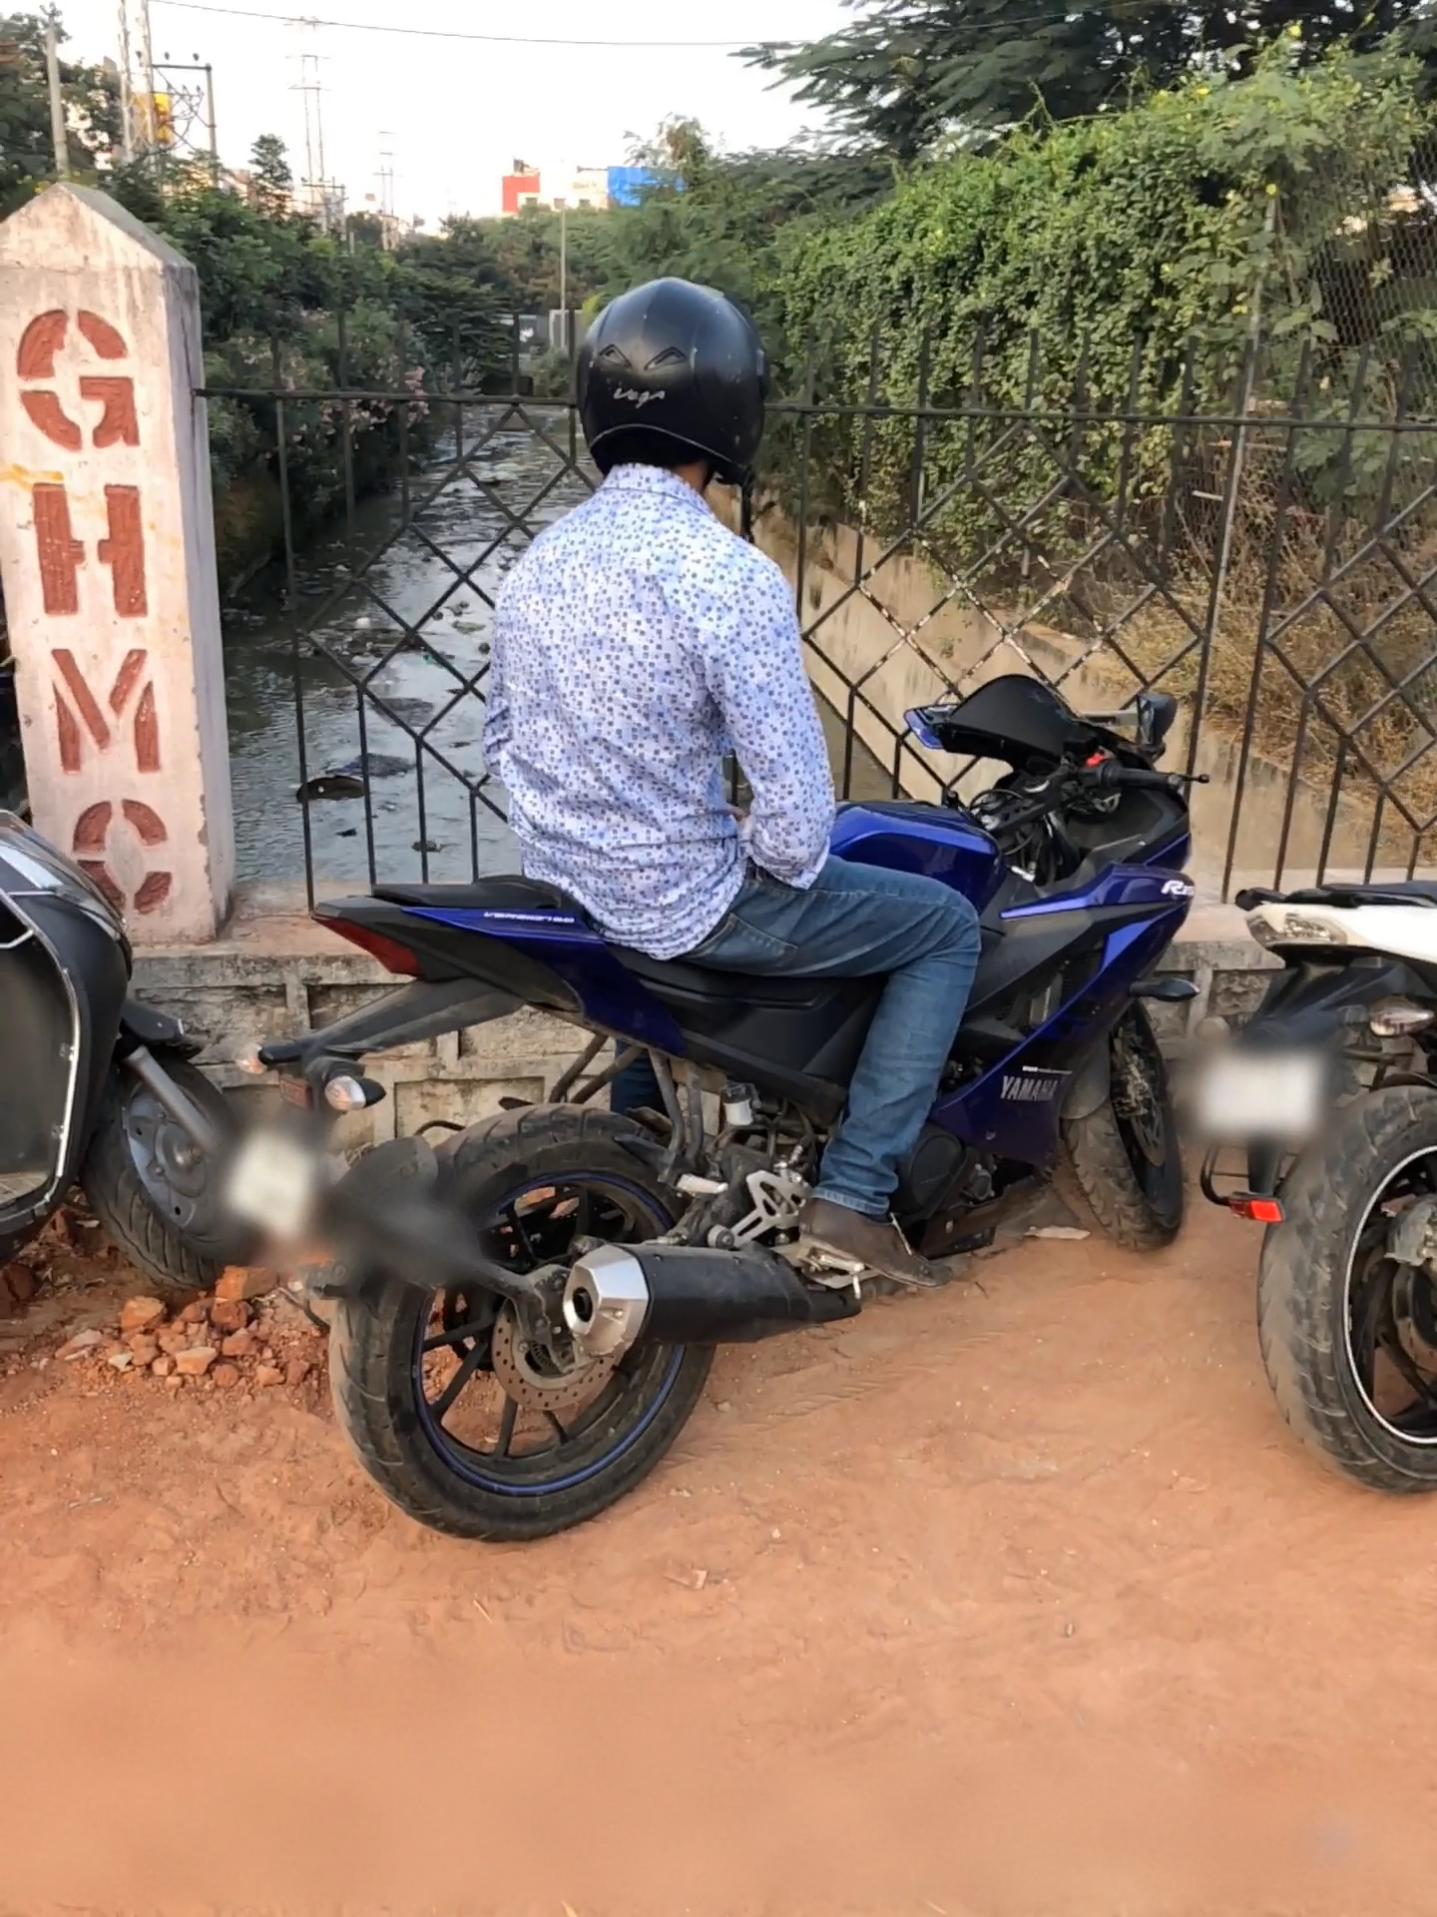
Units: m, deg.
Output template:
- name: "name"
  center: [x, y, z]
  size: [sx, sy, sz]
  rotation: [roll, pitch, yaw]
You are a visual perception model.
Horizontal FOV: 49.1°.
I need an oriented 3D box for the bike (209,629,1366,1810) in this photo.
- name: "bike"
  center: [0.249, 0.157, 2.599]
  size: [0.732, 0.995, 1.951]
  rotation: [19, 29, 38]
